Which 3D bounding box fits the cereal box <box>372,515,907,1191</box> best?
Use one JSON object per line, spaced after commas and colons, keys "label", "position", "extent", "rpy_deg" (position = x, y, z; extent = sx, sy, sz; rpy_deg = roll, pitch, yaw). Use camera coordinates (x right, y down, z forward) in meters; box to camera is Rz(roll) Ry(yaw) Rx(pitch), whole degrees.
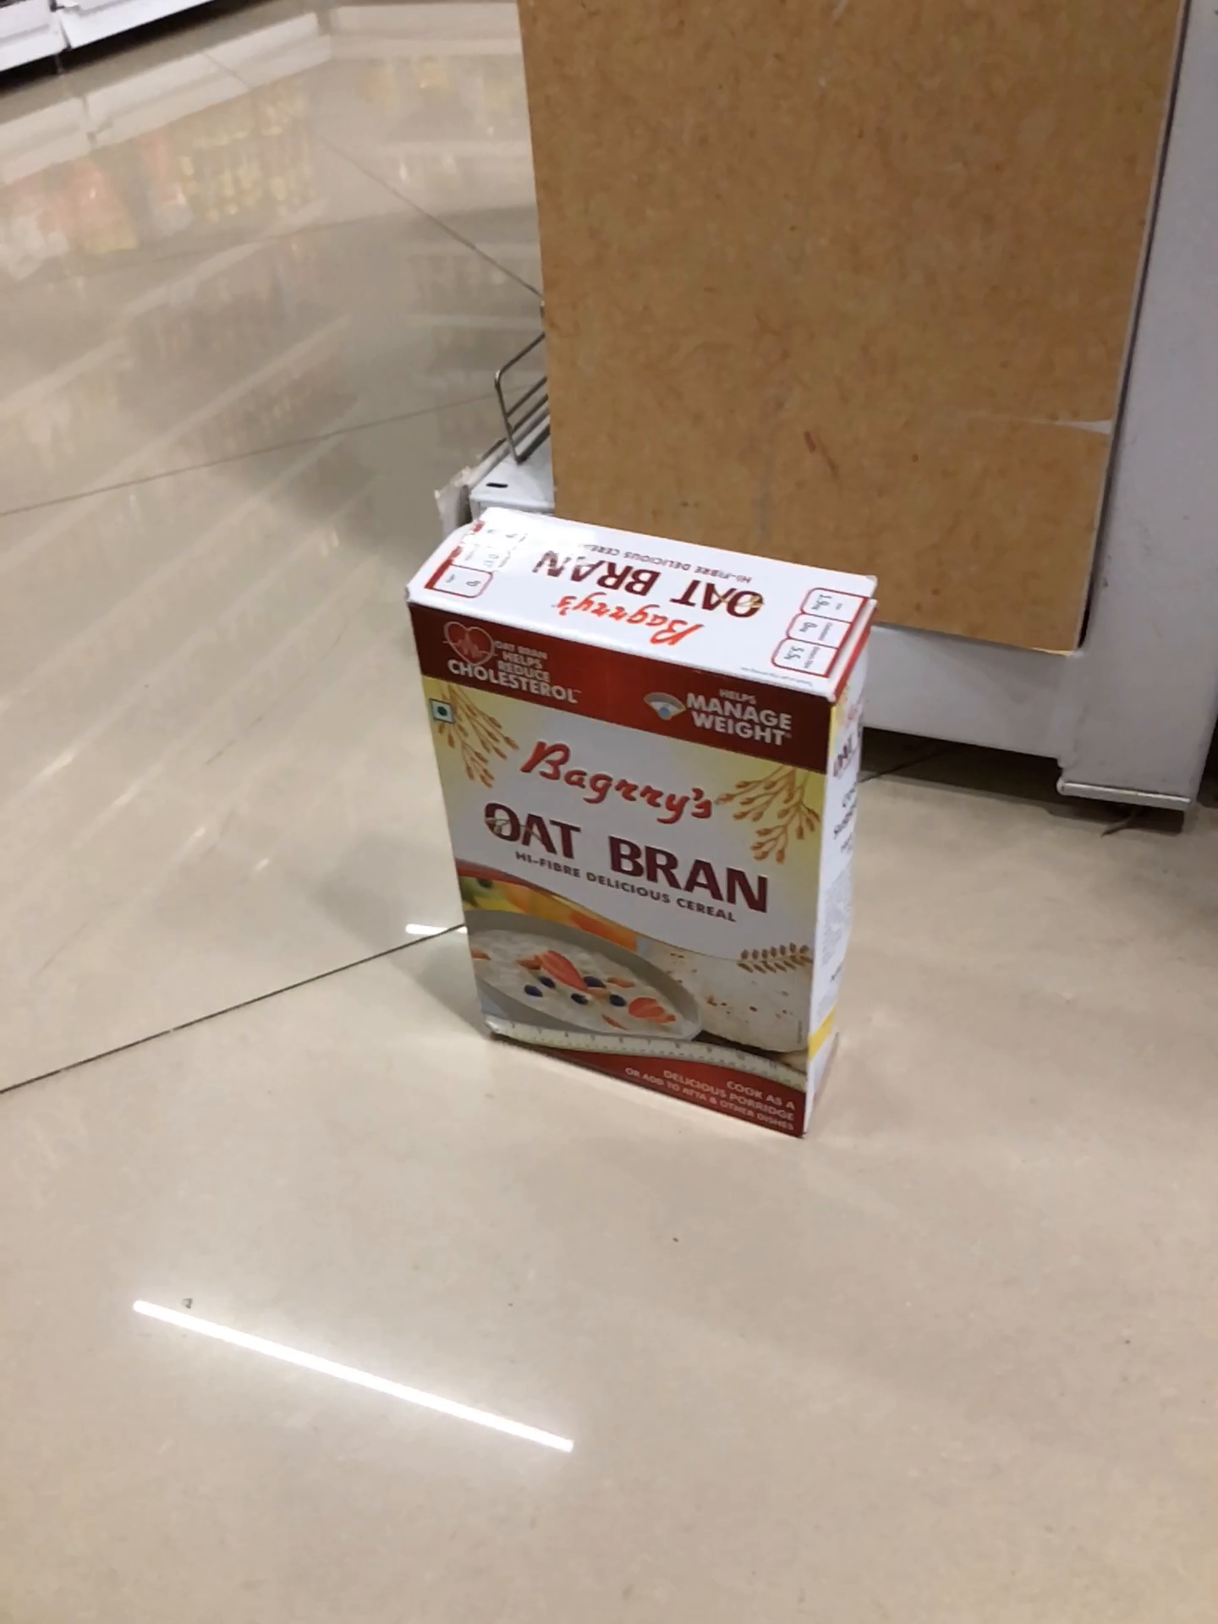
{"label": "cereal box", "position": [0.015, 0.018, 0.468], "extent": [0.150, 0.209, 0.060], "rpy_deg": [16, 43, 25]}
